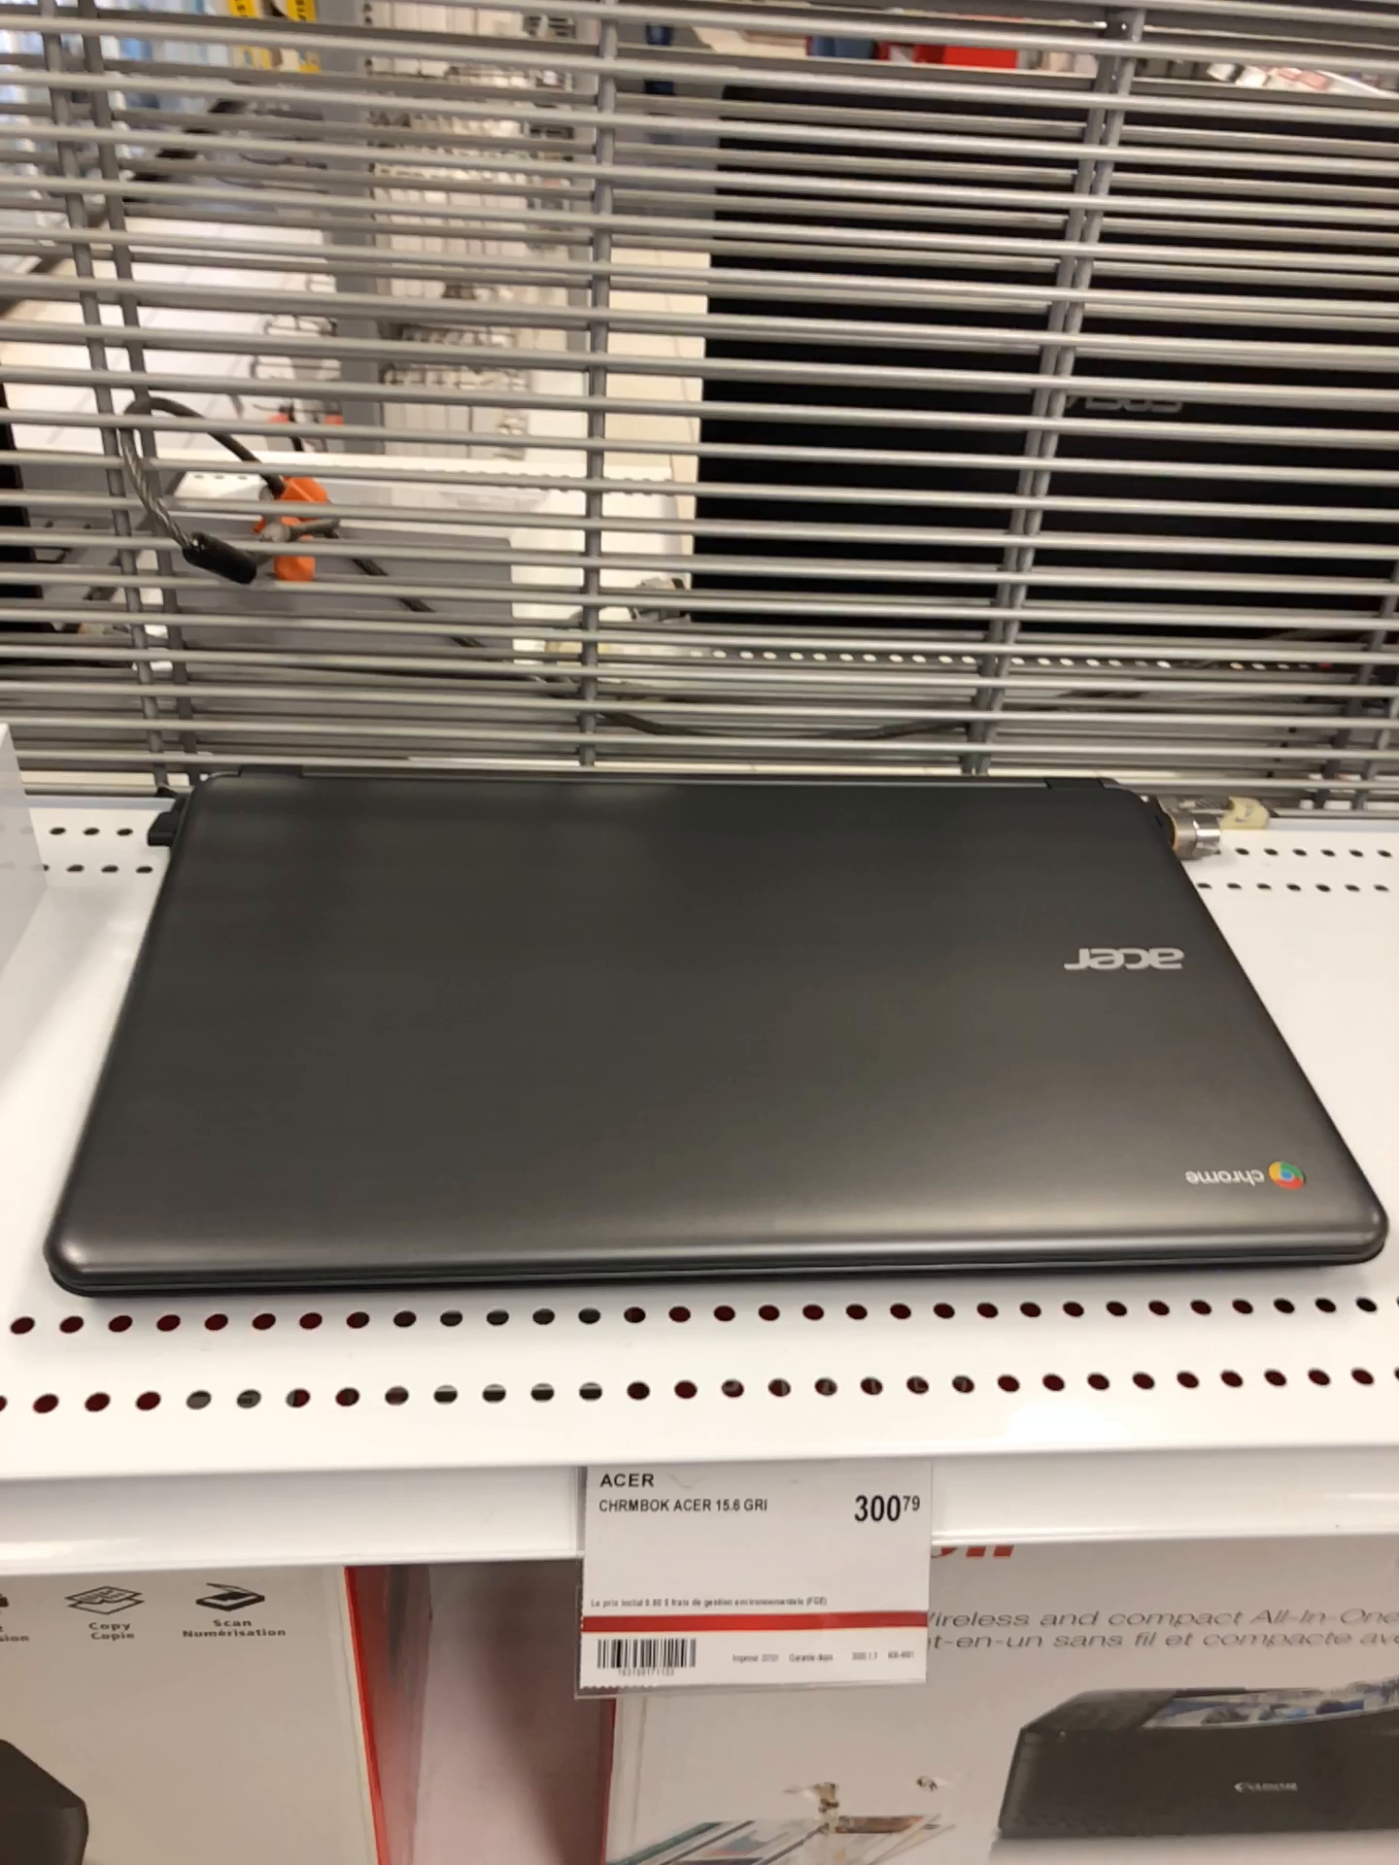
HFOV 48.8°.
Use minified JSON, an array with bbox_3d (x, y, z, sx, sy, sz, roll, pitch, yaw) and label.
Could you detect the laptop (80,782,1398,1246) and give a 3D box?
[{"bbox_3d":[0.005,0.015,0.519,0.367,0.001,0.238,0,37,-5],"label":"laptop"}]
